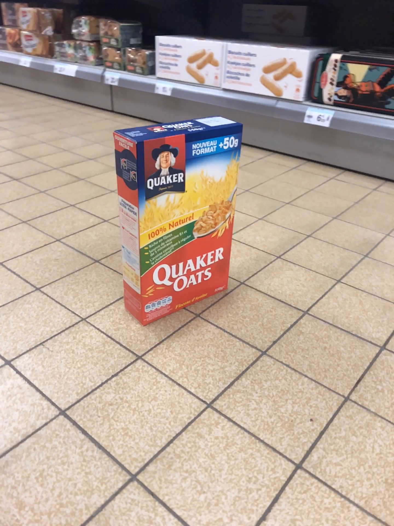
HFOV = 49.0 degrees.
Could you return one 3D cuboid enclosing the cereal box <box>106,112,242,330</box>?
[{"bbox_3d":[-0.025,-0.049,0.517,0.141,0.229,0.050,-19,36,-32],"label":"cereal box"}]
